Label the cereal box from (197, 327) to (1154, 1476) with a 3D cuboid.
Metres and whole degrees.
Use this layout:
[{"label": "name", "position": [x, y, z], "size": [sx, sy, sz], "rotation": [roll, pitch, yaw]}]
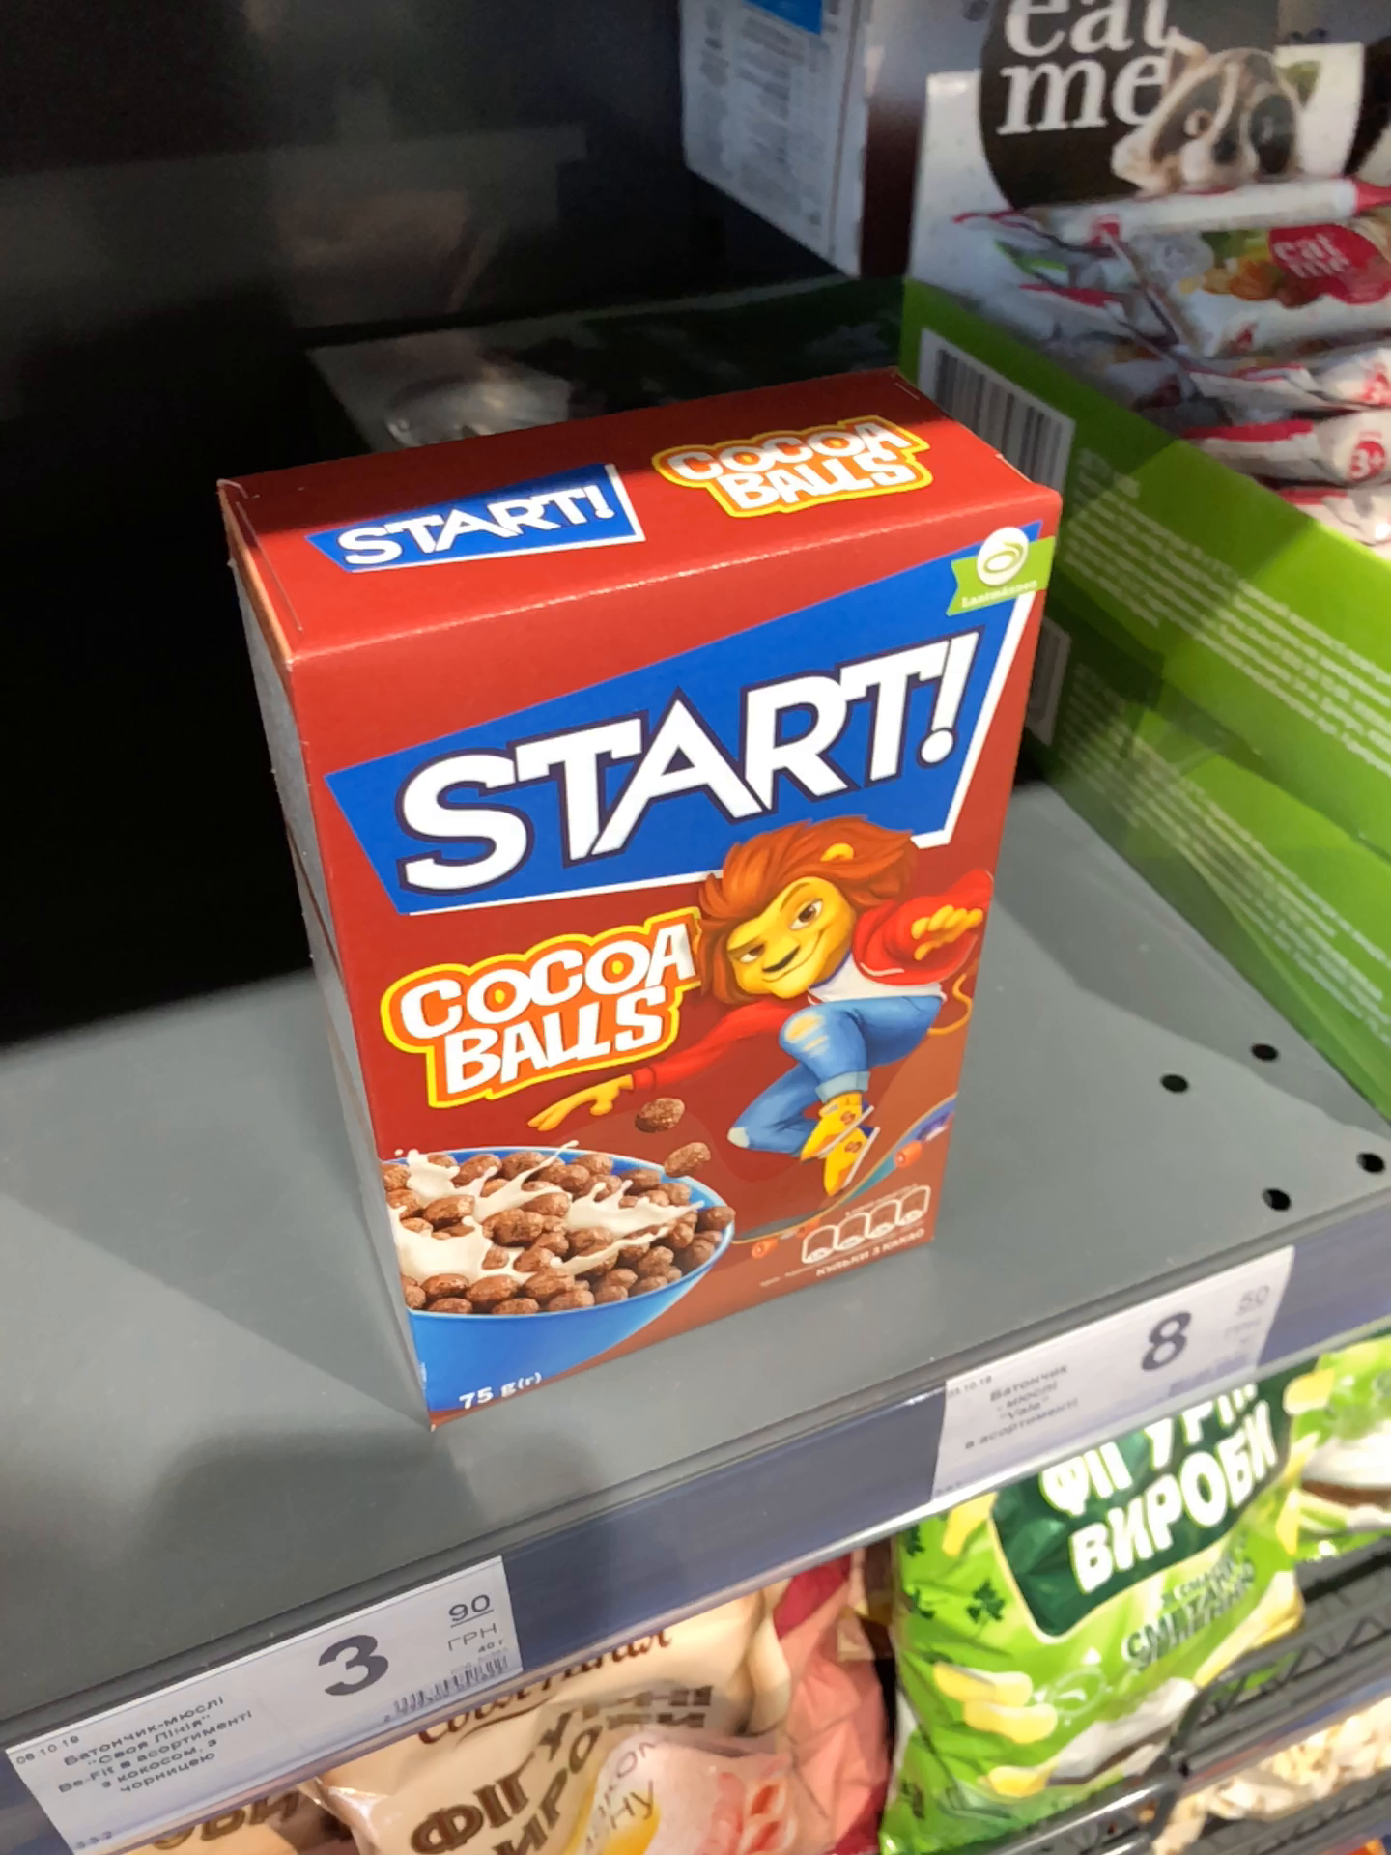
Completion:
[{"label": "cereal box", "position": [-0.005, 0.003, 0.259], "size": [0.110, 0.169, 0.060], "rotation": [-16, 45, -19]}]
